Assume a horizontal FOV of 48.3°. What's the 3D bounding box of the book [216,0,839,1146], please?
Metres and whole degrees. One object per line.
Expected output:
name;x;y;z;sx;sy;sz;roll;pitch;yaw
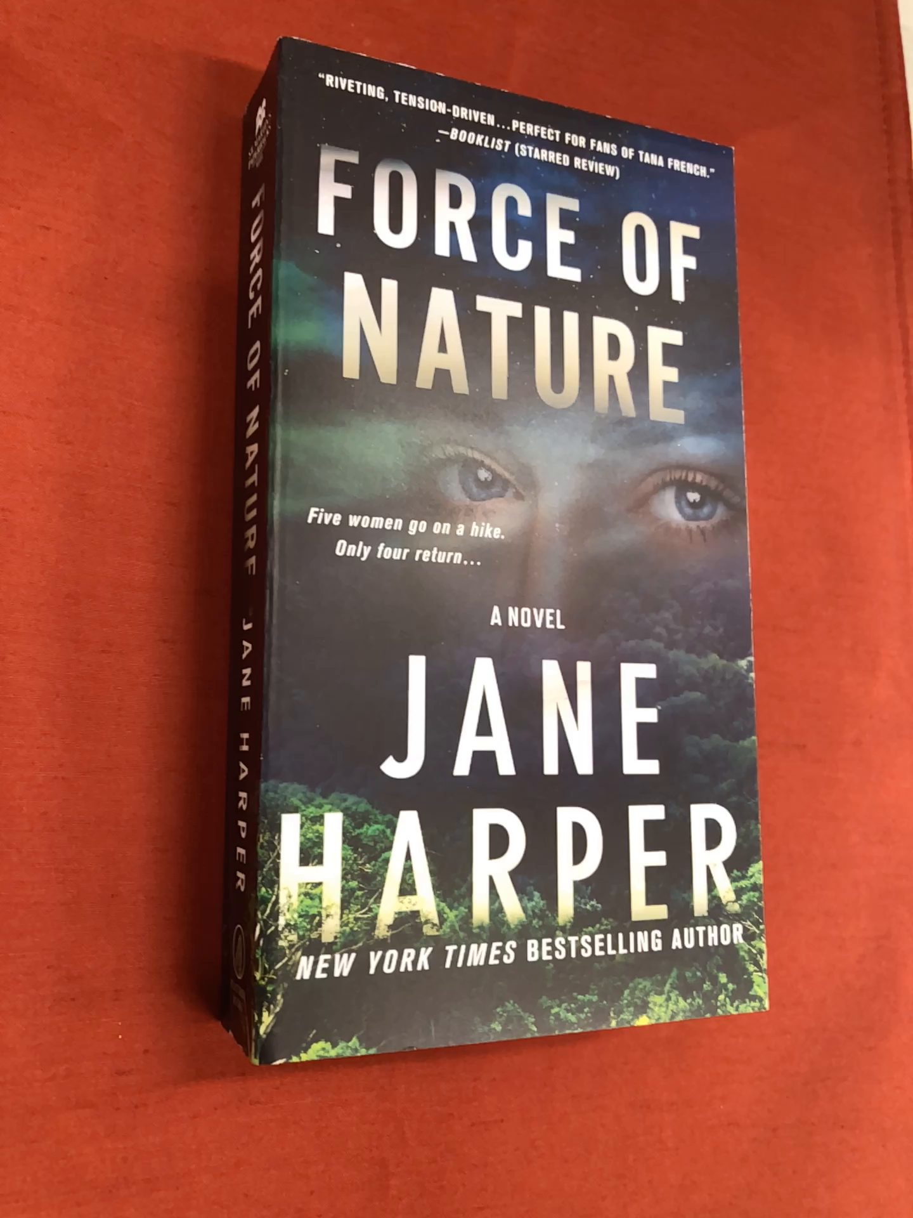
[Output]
book;0.014;-0.005;0.203;0.110;0.050;0.180;2;88;-22
